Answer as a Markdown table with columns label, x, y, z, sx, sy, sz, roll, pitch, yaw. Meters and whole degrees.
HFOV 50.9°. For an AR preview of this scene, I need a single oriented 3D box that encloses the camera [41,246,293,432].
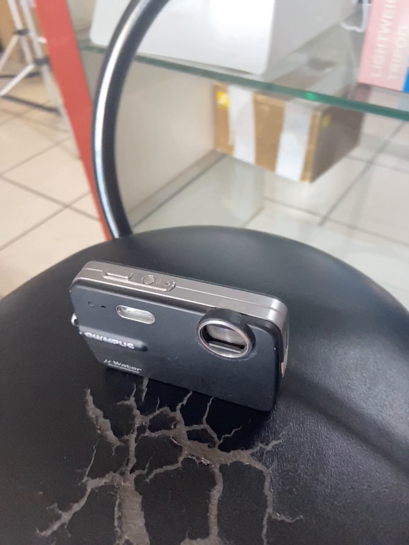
| label | x | y | z | sx | sy | sz | roll | pitch | yaw |
| --- | --- | --- | --- | --- | --- | --- | --- | --- | --- |
| camera | -0.015 | 0.030 | 0.196 | 0.100 | 0.060 | 0.030 | 12 | 46 | 18 |
